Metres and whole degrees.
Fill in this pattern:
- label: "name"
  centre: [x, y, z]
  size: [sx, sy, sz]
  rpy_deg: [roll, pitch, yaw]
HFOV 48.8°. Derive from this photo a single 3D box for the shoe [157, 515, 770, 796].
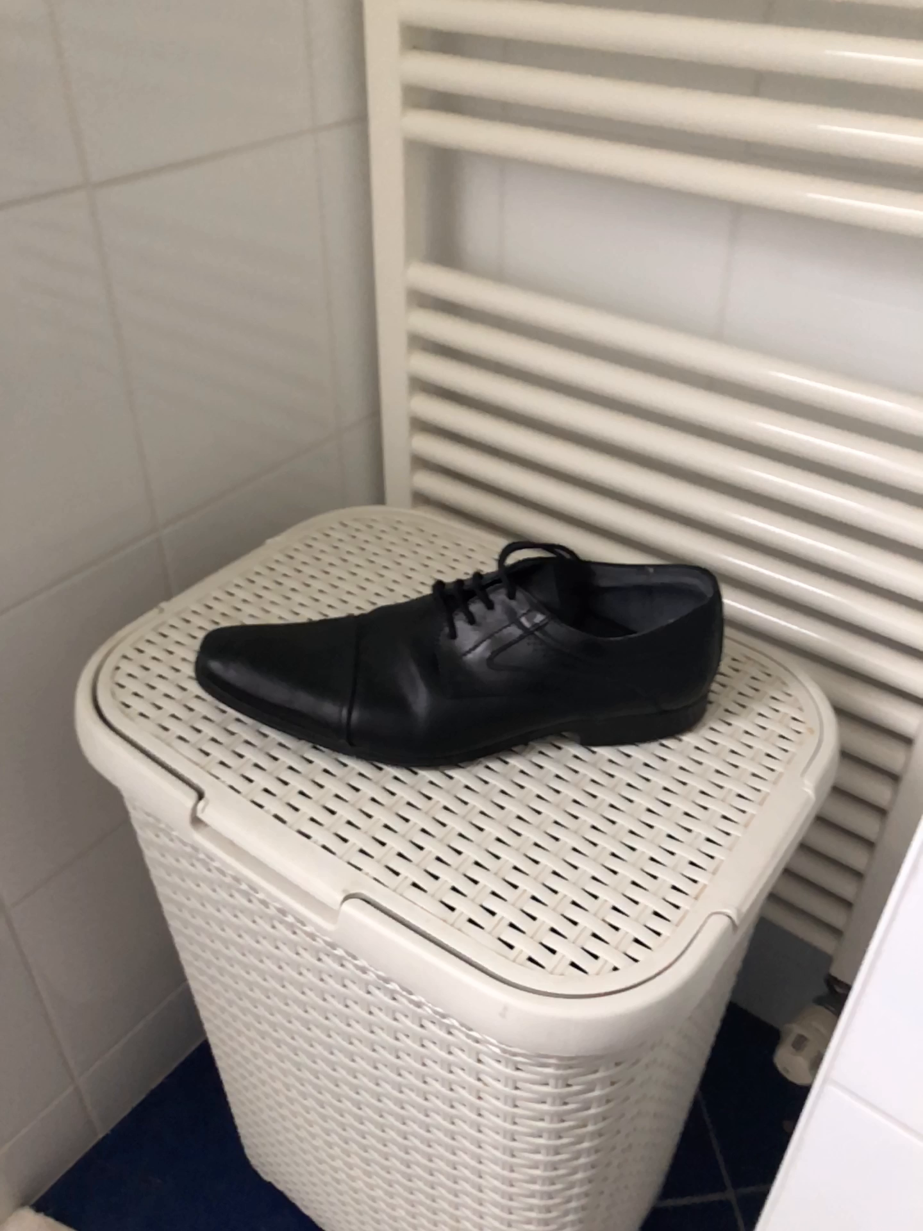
- label: "shoe"
  centre: [0.000, 0.019, 0.587]
  size: [0.310, 0.099, 0.111]
  rpy_deg: [-3, 37, -4]
